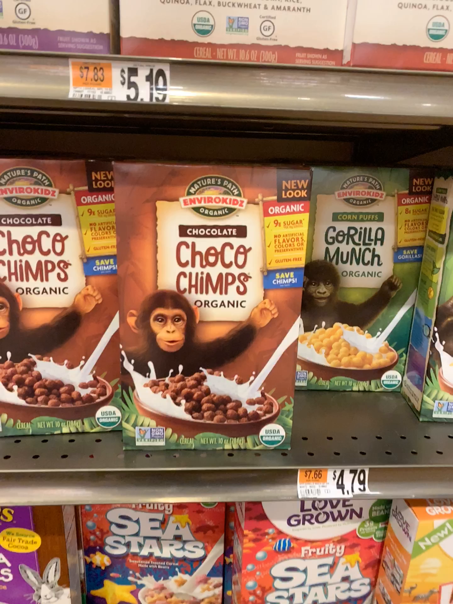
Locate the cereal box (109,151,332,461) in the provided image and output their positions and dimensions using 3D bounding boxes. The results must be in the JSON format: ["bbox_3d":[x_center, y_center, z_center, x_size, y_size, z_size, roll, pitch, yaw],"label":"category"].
[{"bbox_3d":[-0.010,0.008,0.419,0.170,0.269,0.060,1,16,-4],"label":"cereal box"}]
